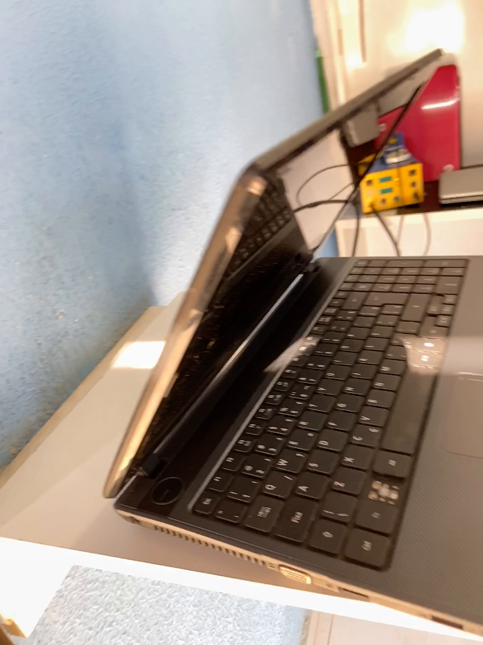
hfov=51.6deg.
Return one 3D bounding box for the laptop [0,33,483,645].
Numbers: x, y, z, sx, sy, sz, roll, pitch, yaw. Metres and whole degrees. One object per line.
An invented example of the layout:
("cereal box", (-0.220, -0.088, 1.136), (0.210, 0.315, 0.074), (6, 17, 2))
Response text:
("laptop", (0.087, -0.055, 0.353), (0.247, 0.191, 0.378), (2, 31, 30))
